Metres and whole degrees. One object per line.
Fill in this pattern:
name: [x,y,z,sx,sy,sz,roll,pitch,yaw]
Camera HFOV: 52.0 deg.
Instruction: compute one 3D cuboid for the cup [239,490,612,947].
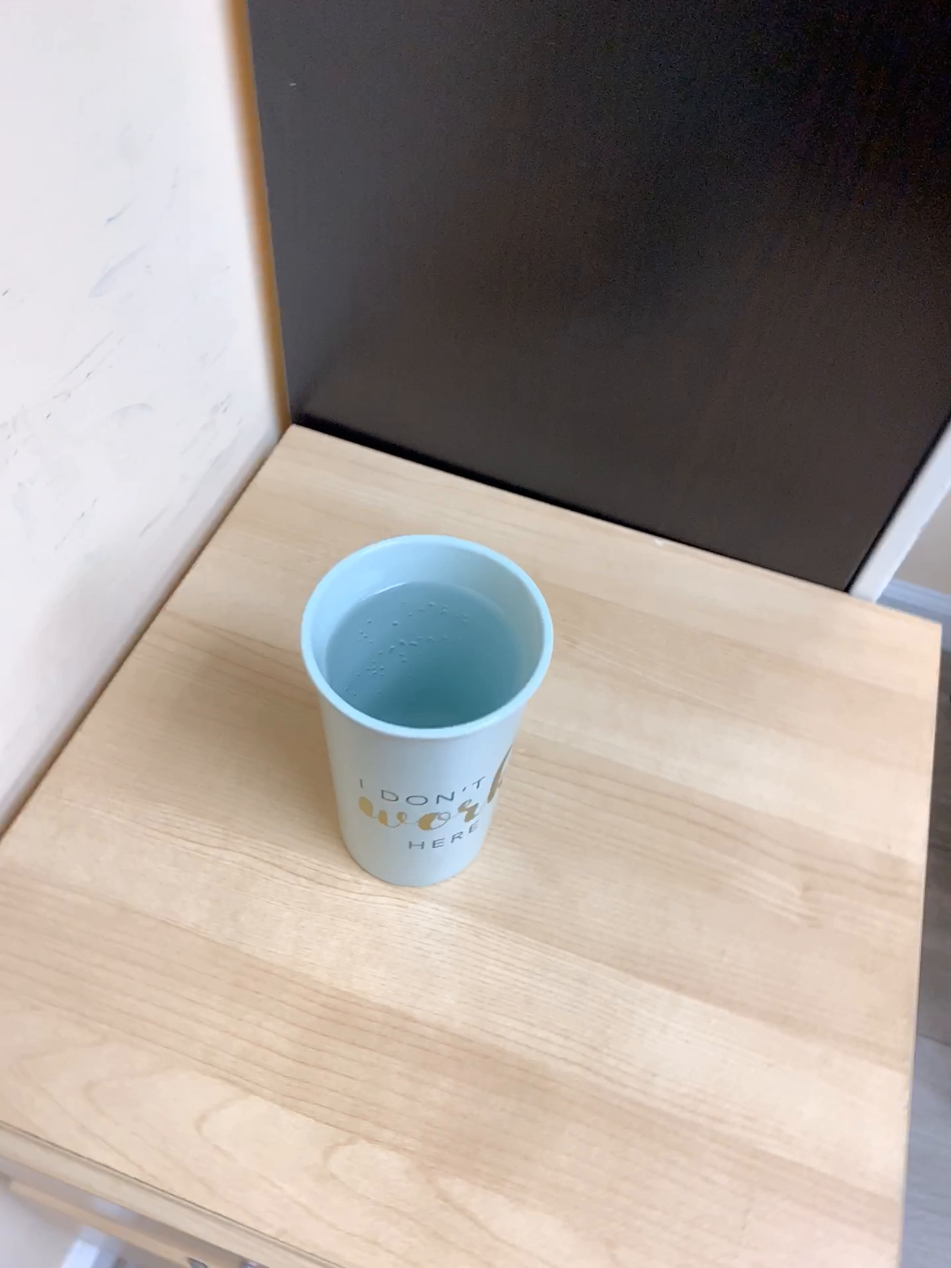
cup: [-0.023,0.041,0.414,0.100,0.155,0.090,-31,62,-24]
